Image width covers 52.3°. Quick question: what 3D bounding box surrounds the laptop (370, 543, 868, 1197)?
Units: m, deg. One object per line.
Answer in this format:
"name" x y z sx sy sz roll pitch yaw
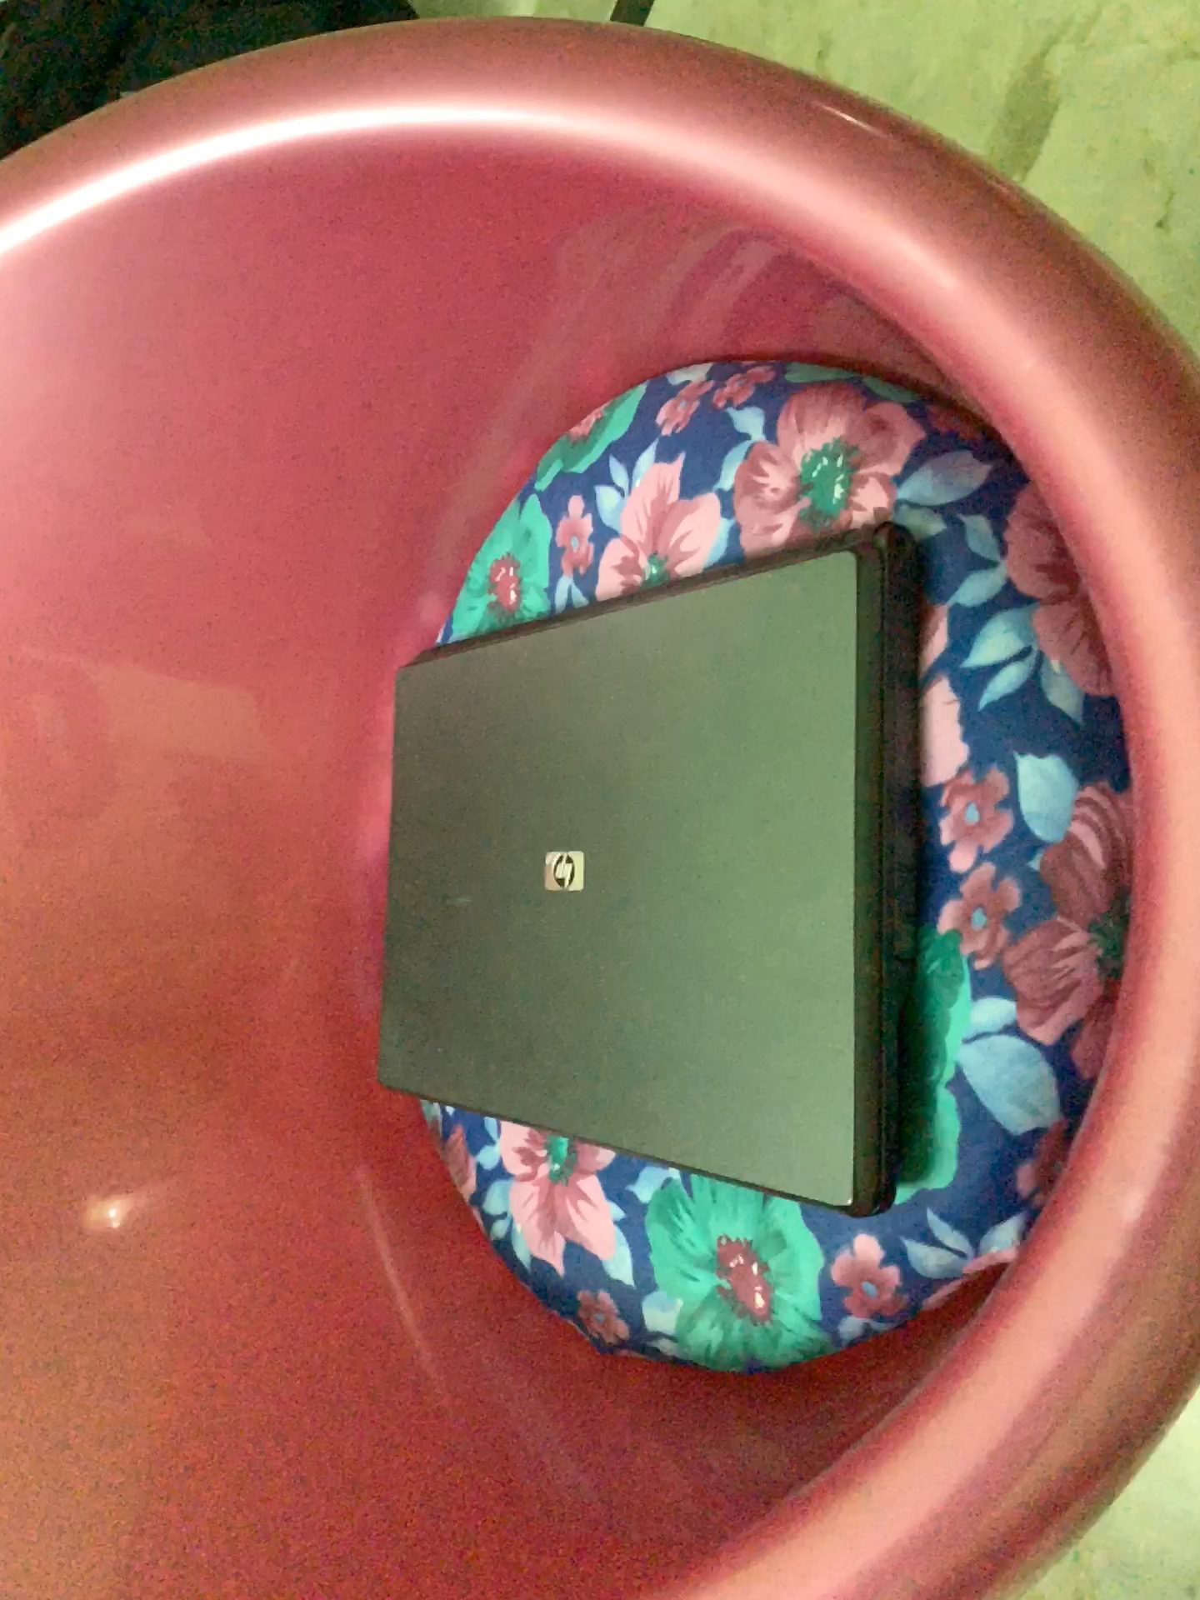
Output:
"laptop" -0.013 0.029 0.529 0.306 0.003 0.222 -4 84 47
